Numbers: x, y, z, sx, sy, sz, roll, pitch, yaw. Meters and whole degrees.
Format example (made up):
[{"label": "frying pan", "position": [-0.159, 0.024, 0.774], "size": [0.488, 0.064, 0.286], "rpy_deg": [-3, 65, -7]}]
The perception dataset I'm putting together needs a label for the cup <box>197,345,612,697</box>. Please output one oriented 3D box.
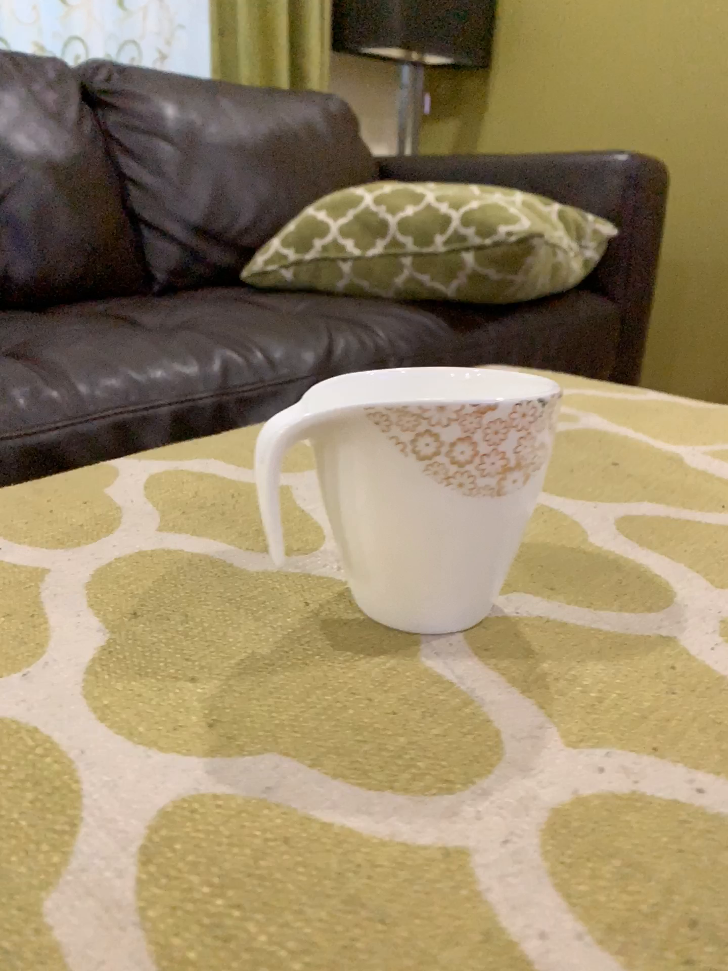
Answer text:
[{"label": "cup", "position": [0.008, 0.002, 0.263], "size": [0.109, 0.079, 0.089], "rpy_deg": [-8, 22, -23]}]
